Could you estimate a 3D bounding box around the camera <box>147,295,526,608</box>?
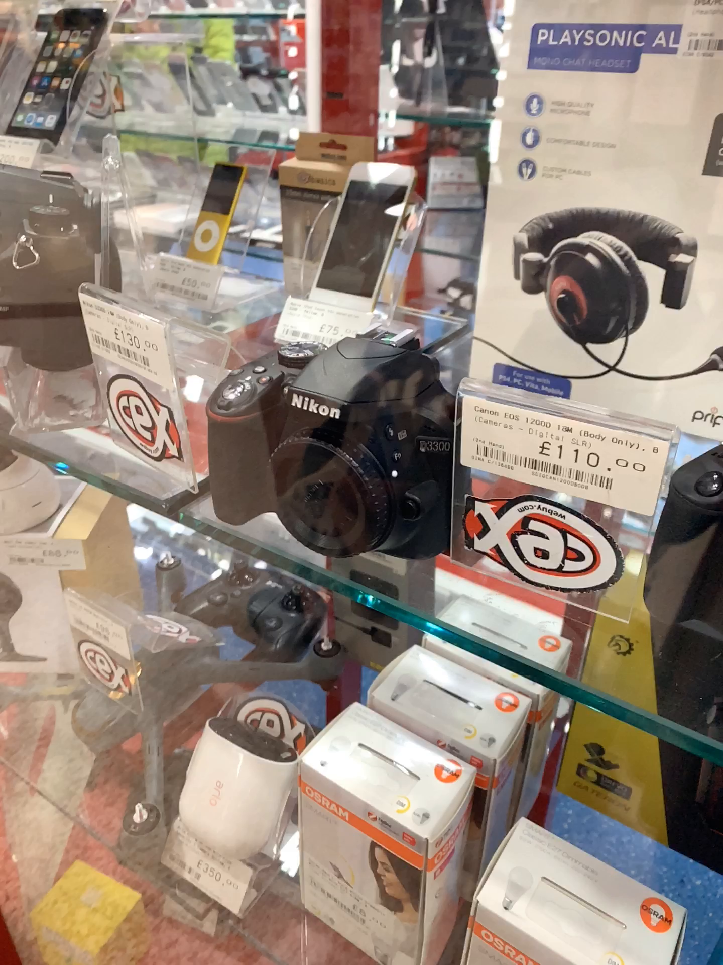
[{"bbox_3d":[-0.008,-0.025,0.349,0.130,0.079,0.111,16,33,24],"label":"camera"}]
